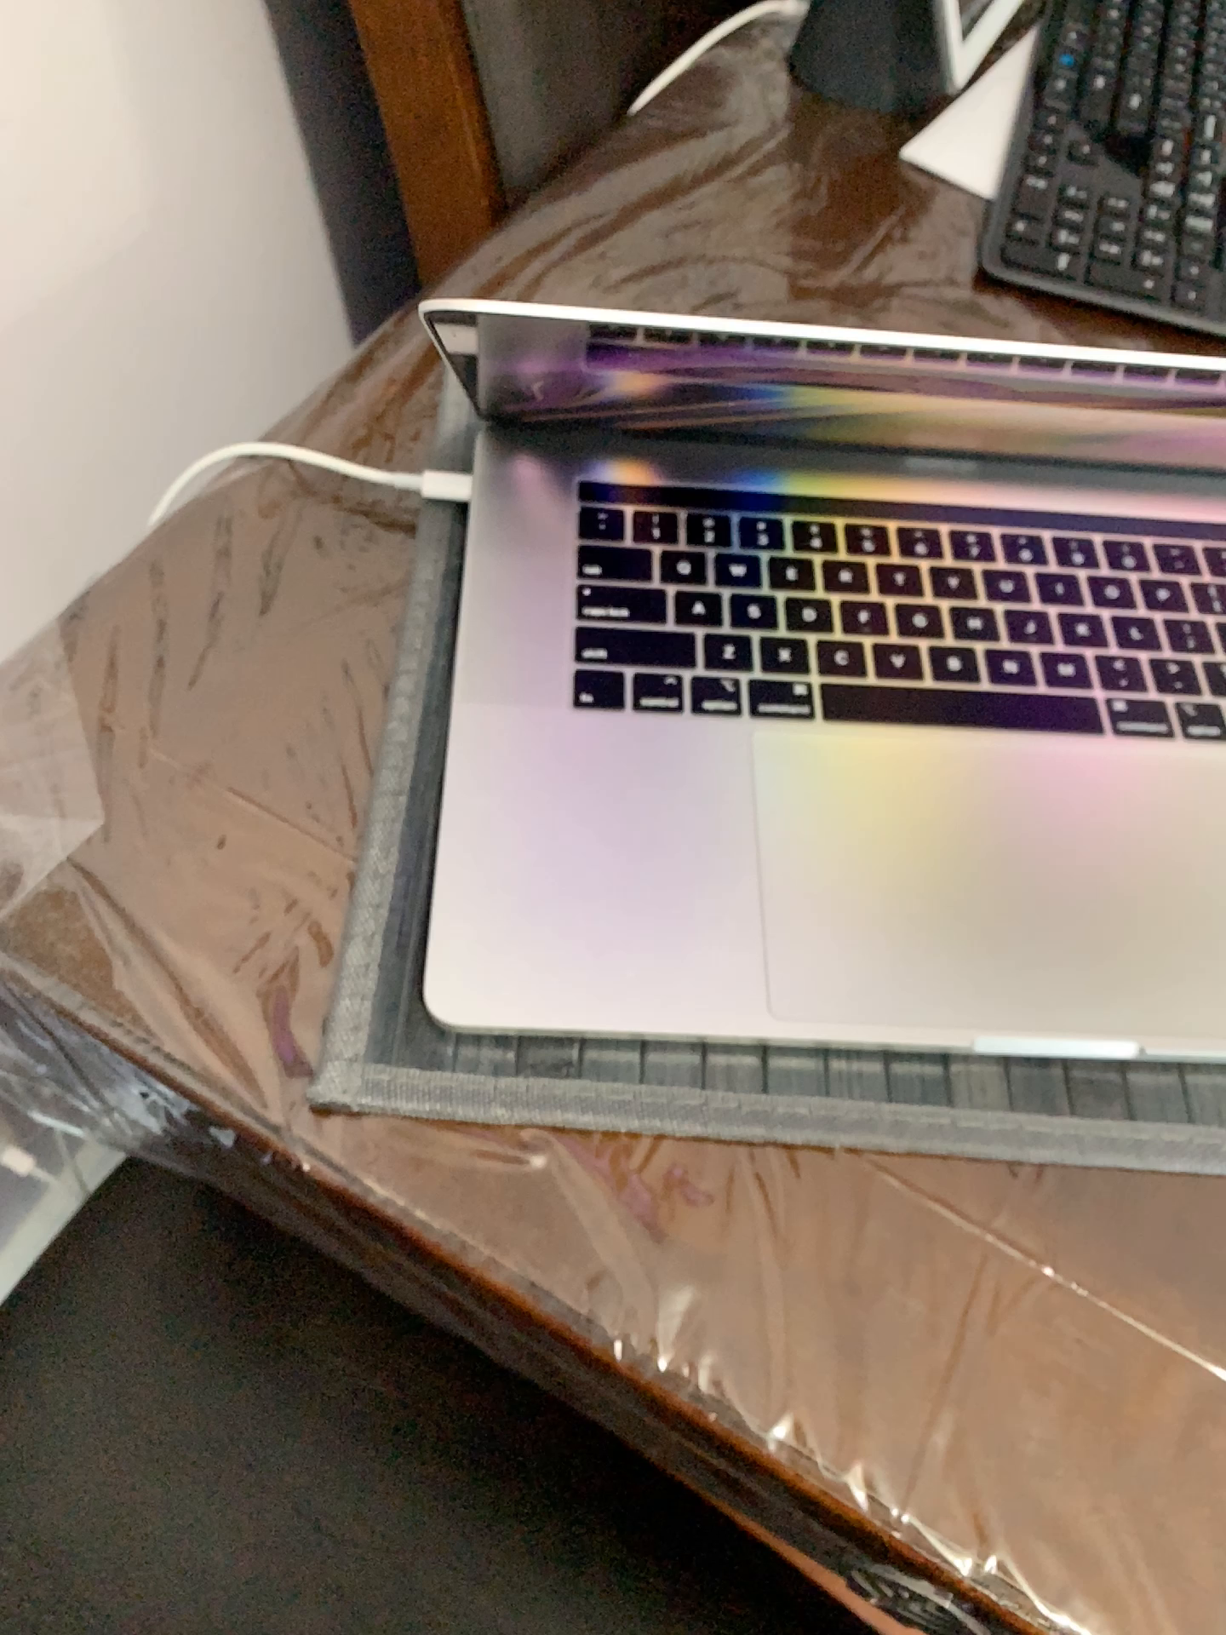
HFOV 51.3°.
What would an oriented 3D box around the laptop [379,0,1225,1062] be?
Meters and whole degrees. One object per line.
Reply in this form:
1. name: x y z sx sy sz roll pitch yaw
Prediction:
1. laptop: 0.127 -0.082 0.345 0.339 0.164 0.234 3 56 -4
